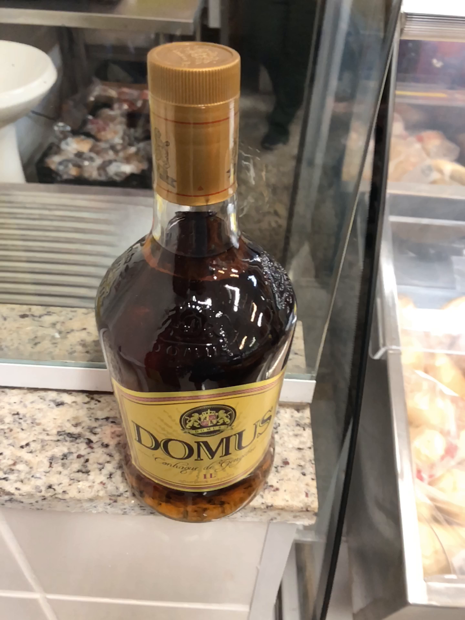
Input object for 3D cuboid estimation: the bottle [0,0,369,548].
[{"bbox_3d":[-0.028,-0.001,0.261,0.100,0.258,0.111,-8,44,-11],"label":"bottle"}]
